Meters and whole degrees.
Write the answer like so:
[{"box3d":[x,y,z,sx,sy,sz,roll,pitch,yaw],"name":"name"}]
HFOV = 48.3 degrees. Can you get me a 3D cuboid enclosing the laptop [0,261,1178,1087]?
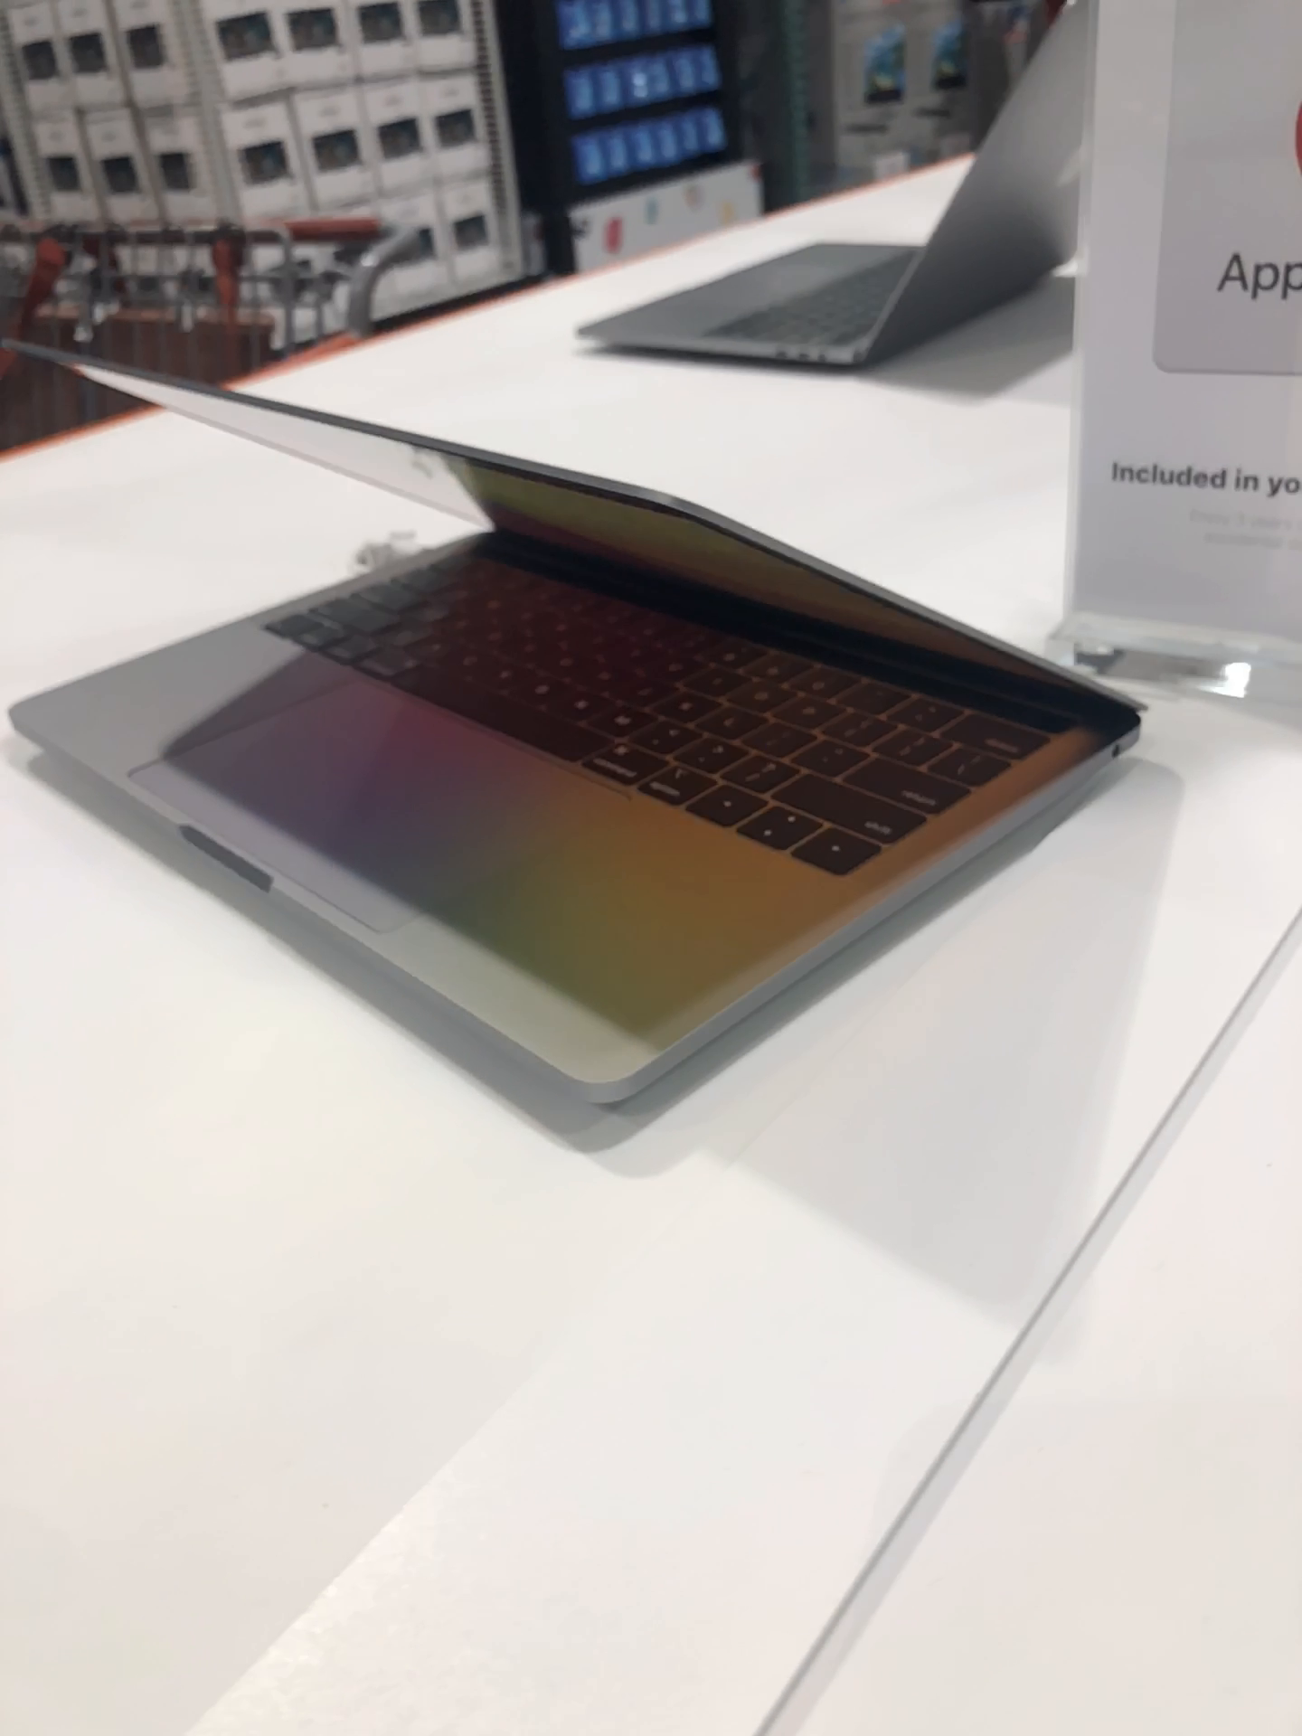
[{"box3d":[-0.042,-0.093,0.426,0.210,0.109,0.298,-30,39,-34],"name":"laptop"}]
